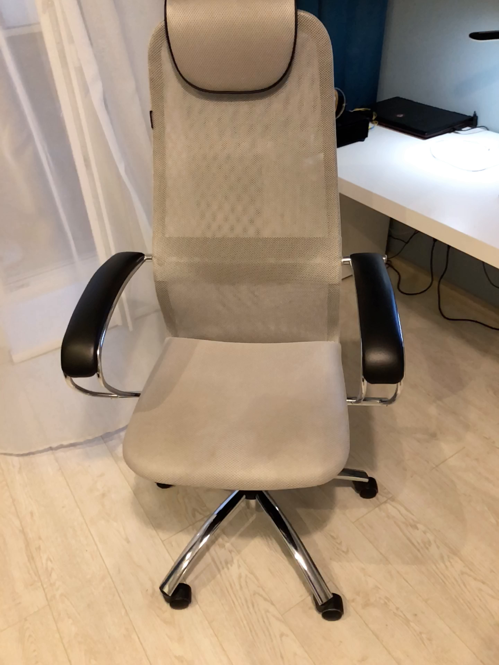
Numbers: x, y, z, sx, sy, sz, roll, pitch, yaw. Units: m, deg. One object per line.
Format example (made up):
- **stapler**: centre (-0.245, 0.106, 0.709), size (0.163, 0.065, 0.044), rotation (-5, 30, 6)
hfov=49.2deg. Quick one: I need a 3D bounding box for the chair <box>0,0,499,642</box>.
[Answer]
- **chair**: centre (0.002, 0.025, 1.236), size (0.690, 1.290, 0.685), rotation (0, 37, 6)
